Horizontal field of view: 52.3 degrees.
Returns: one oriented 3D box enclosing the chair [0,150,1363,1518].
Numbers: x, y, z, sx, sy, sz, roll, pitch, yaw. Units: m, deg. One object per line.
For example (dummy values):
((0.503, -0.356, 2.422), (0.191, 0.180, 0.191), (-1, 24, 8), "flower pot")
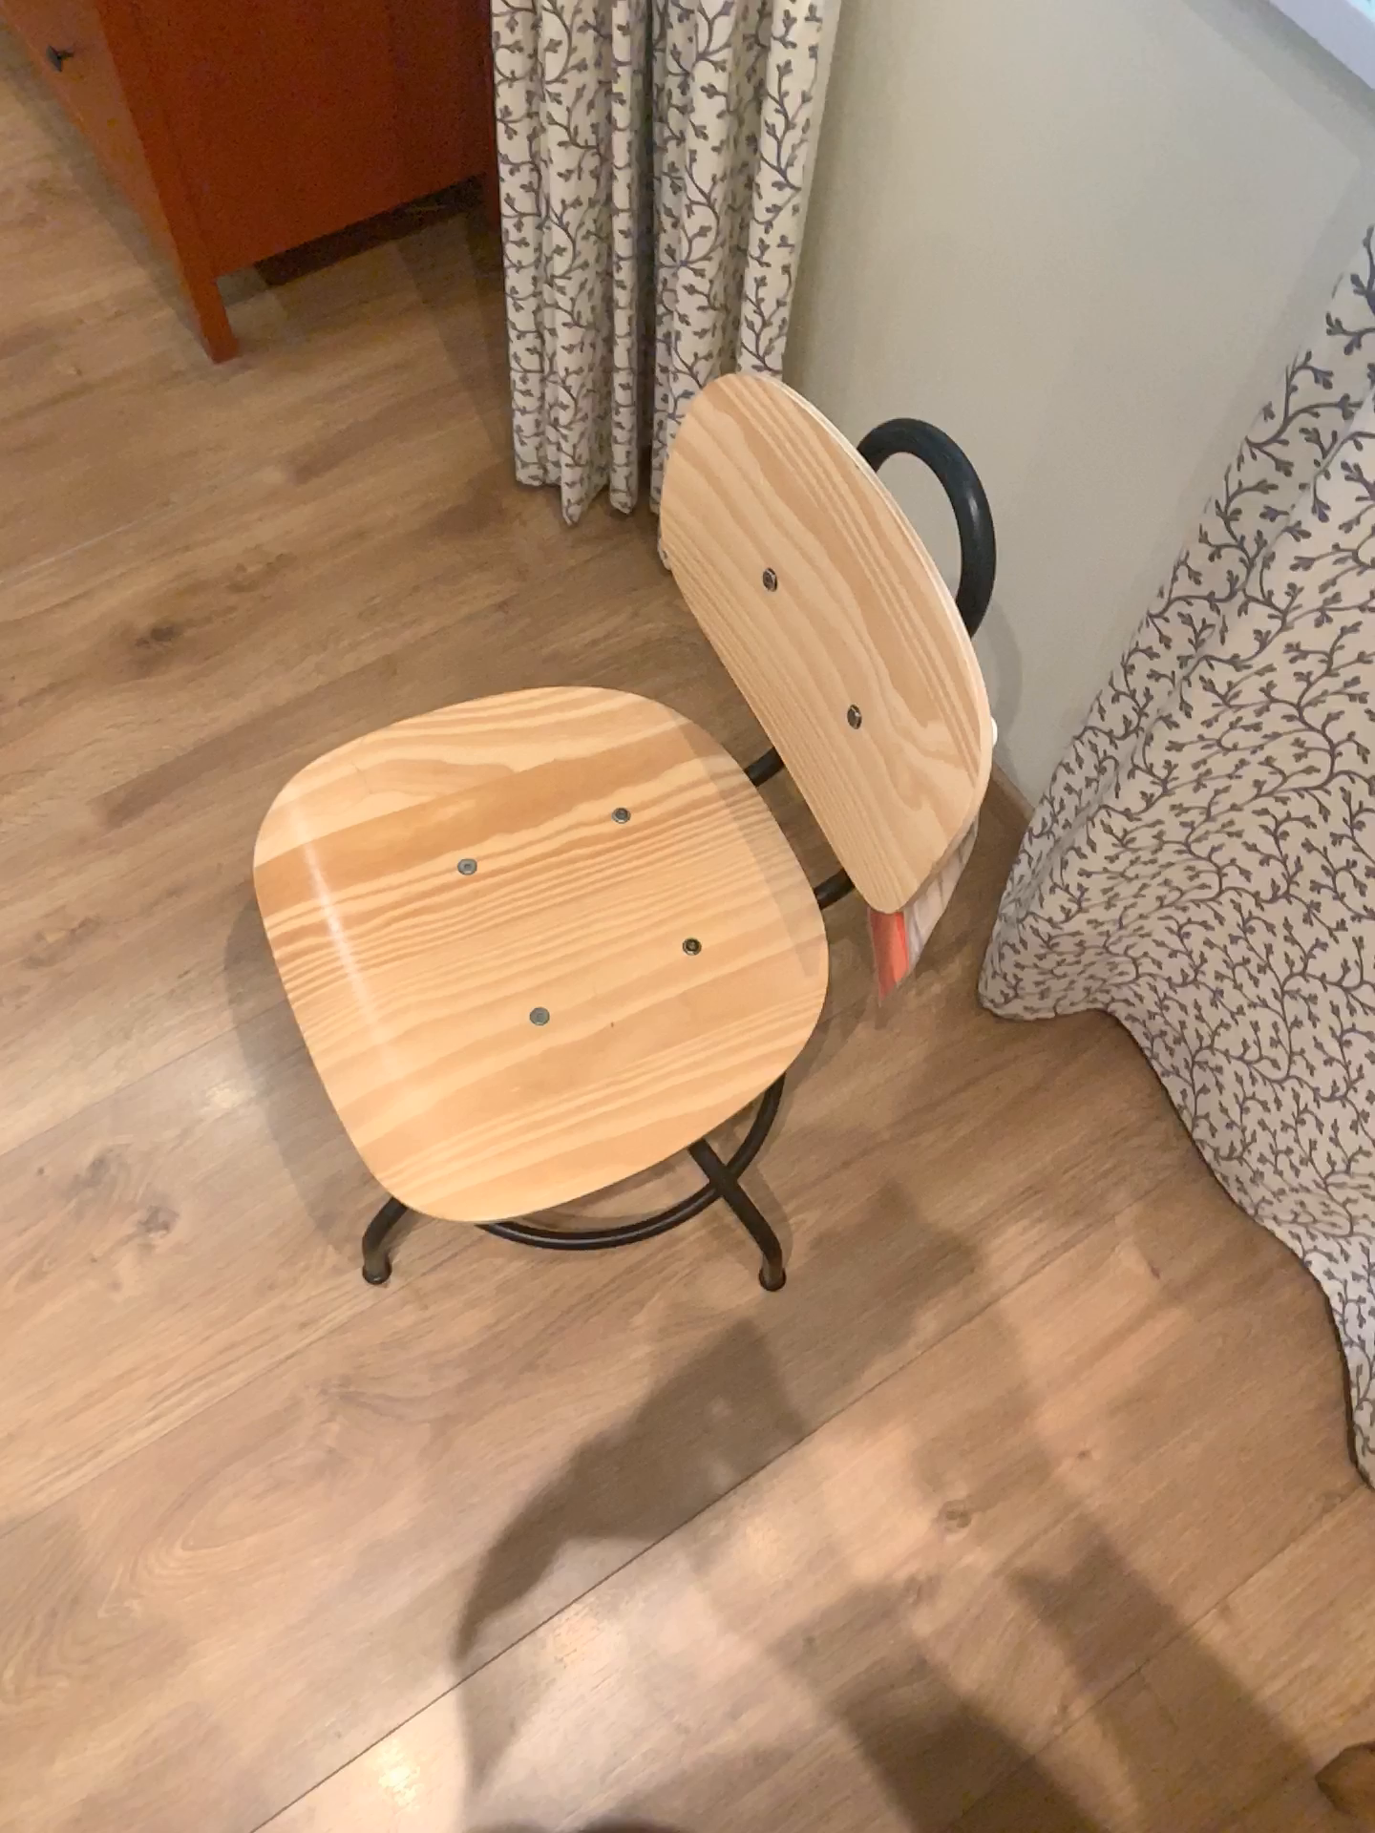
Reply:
((-0.091, 0.004, 1.002), (0.620, 0.649, 0.560), (-22, 69, -13), "chair")
